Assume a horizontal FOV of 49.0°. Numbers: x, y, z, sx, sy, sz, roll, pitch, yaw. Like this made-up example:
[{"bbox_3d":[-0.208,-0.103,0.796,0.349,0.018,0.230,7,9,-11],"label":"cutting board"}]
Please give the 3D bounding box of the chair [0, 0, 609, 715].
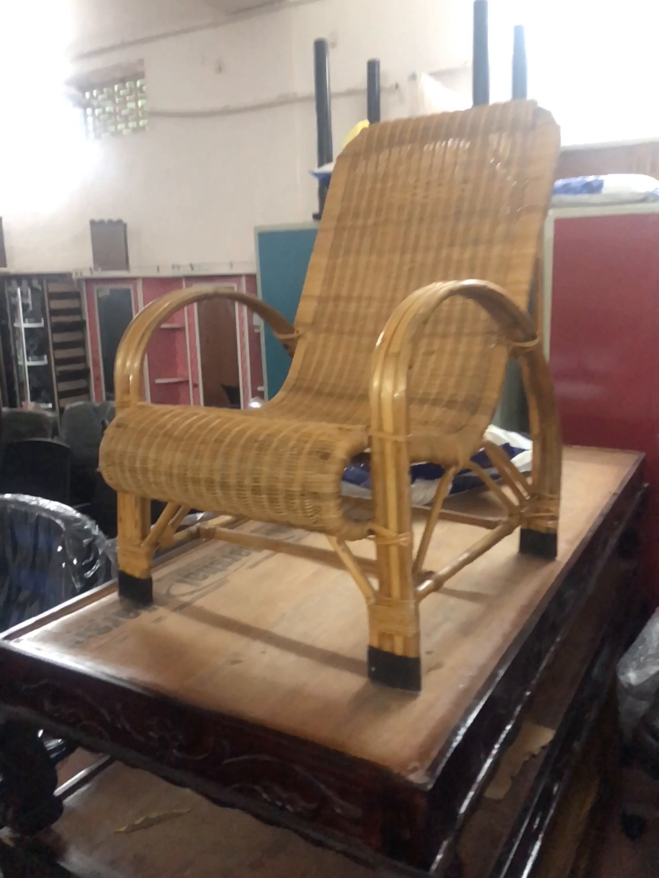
[{"bbox_3d":[0.017,-0.237,1.404,0.769,0.997,0.823,6,14,34],"label":"chair"}]
